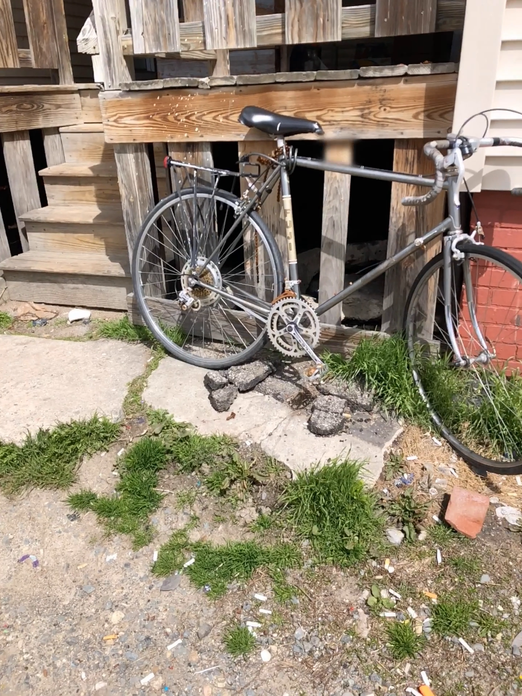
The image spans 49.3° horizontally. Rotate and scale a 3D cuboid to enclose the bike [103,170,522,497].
[{"bbox_3d":[0.153,-0.152,1.471,1.202,0.478,0.400,16,29,33],"label":"bike"}]
